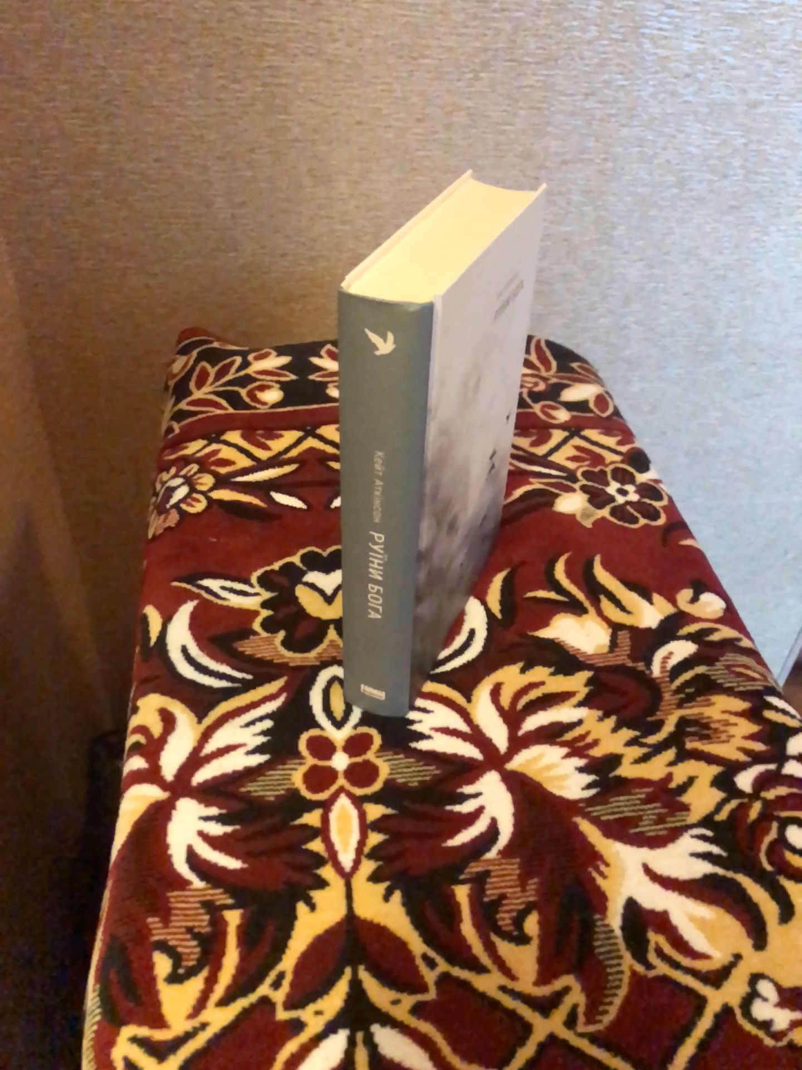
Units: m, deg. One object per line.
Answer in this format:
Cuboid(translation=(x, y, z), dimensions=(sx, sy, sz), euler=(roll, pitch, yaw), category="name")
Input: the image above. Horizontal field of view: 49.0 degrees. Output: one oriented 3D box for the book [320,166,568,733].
Cuboid(translation=(0.017, -0.038, 0.392), dimensions=(0.048, 0.200, 0.146), euler=(16, 40, 14), category="book")
